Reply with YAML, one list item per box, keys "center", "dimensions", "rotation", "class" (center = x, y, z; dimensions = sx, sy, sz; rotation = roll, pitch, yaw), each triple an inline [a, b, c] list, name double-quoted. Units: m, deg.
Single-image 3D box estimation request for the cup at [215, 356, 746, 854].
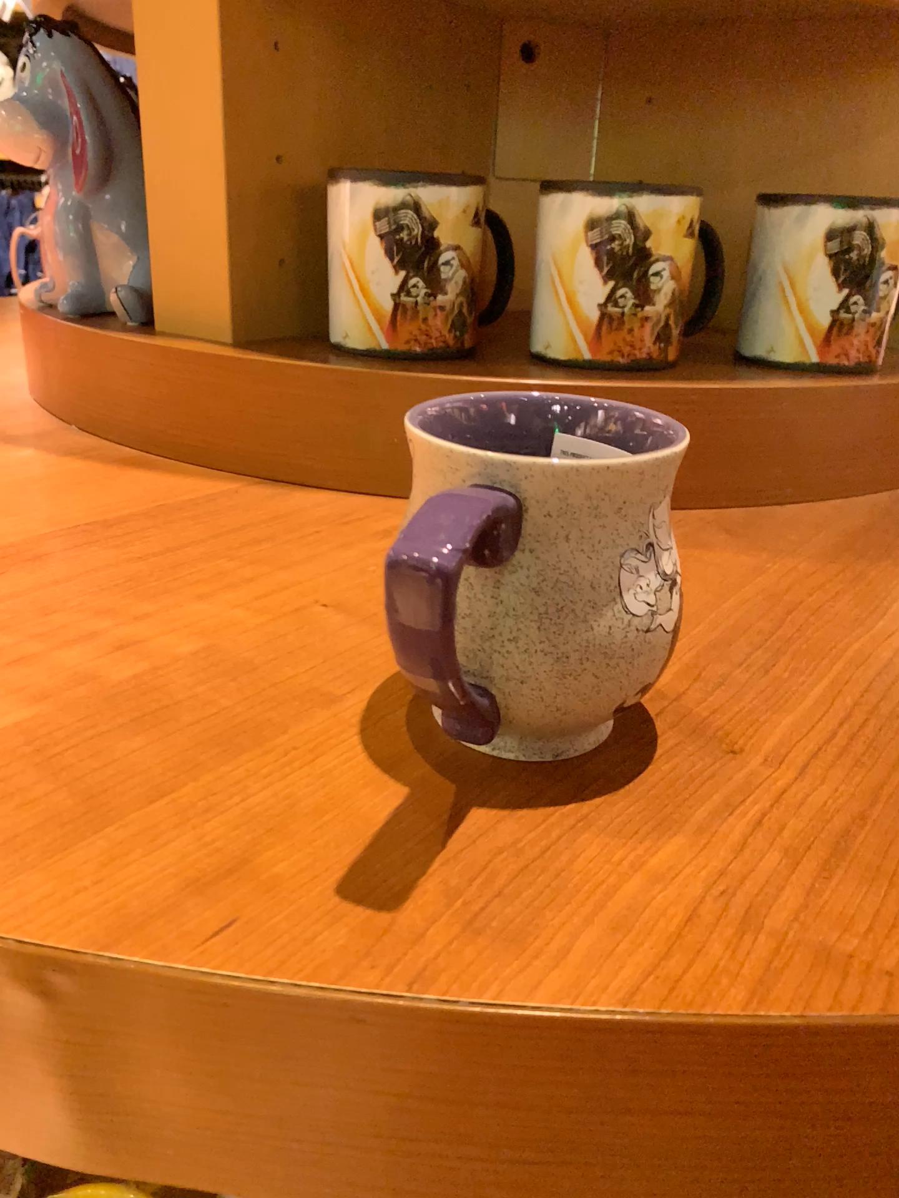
- center: [0.016, -0.015, 0.309]
  dimensions: [0.115, 0.099, 0.141]
  rotation: [15, 26, 25]
  class: "cup"
